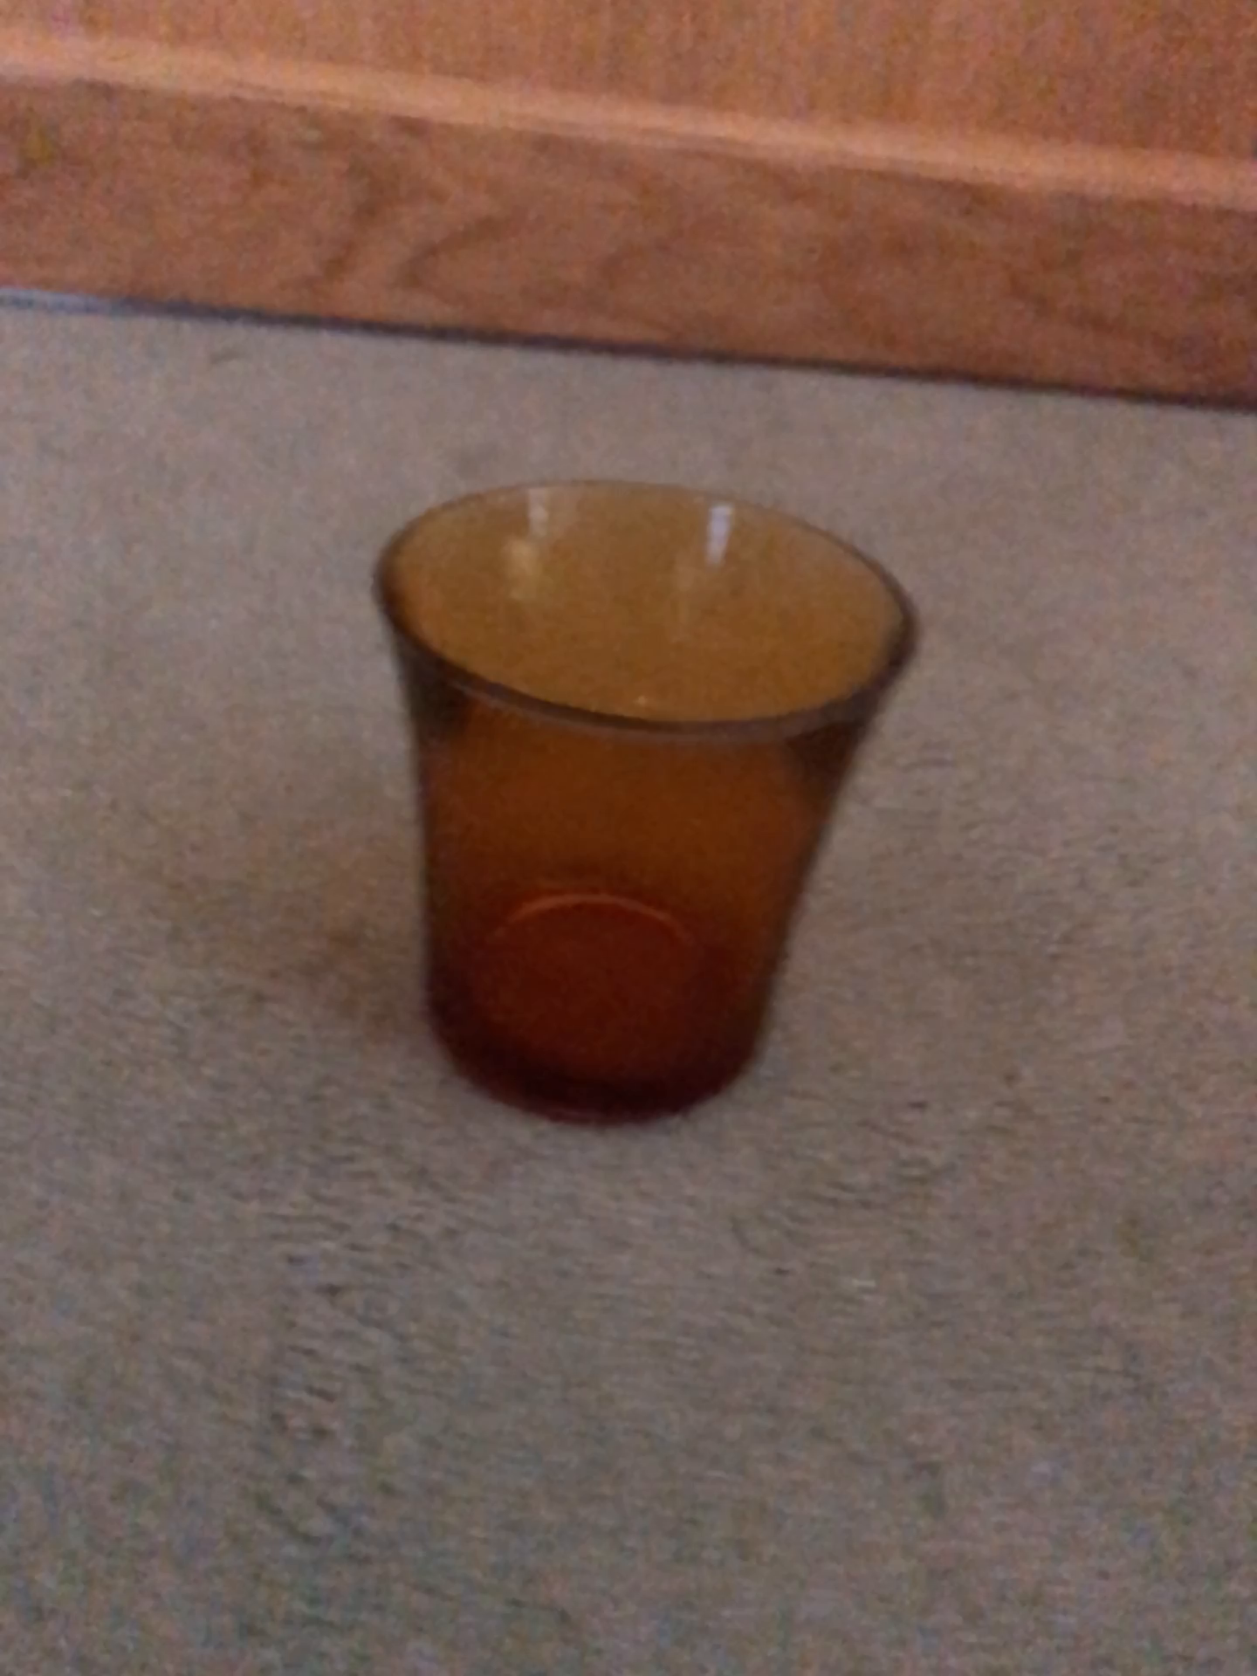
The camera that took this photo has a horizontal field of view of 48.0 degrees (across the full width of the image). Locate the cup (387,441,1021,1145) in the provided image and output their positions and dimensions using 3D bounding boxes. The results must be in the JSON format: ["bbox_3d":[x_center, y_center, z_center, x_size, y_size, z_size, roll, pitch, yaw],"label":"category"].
[{"bbox_3d":[0.001,-0.008,0.202,0.070,0.070,0.070,5,35,-3],"label":"cup"}]
